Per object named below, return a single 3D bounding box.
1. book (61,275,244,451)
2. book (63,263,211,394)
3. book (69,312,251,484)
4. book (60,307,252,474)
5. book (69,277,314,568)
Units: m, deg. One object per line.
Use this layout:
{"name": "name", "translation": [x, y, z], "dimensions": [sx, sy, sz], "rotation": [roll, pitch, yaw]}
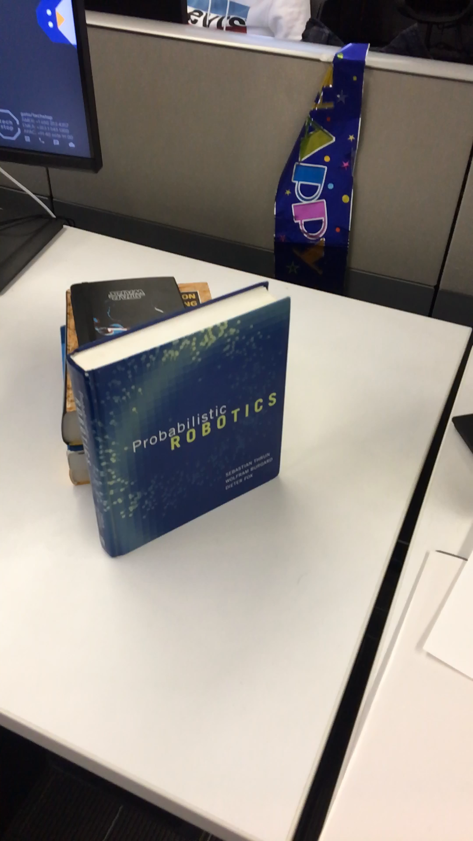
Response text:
{"name": "book", "translation": [-0.102, -0.076, 0.791], "dimensions": [0.180, 0.050, 0.240], "rotation": [-6, 43, -8]}
{"name": "book", "translation": [-0.115, -0.109, 0.766], "dimensions": [0.130, 0.020, 0.200], "rotation": [-9, 43, -12]}
{"name": "book", "translation": [-0.102, -0.039, 0.841], "dimensions": [0.190, 0.030, 0.260], "rotation": [-6, 43, -9]}
{"name": "book", "translation": [-0.103, -0.046, 0.818], "dimensions": [0.190, 0.030, 0.240], "rotation": [-8, 43, -11]}
{"name": "book", "translation": [-0.035, 0.005, 0.660], "dimensions": [0.210, 0.230, 0.050], "rotation": [-24, 48, -26]}
